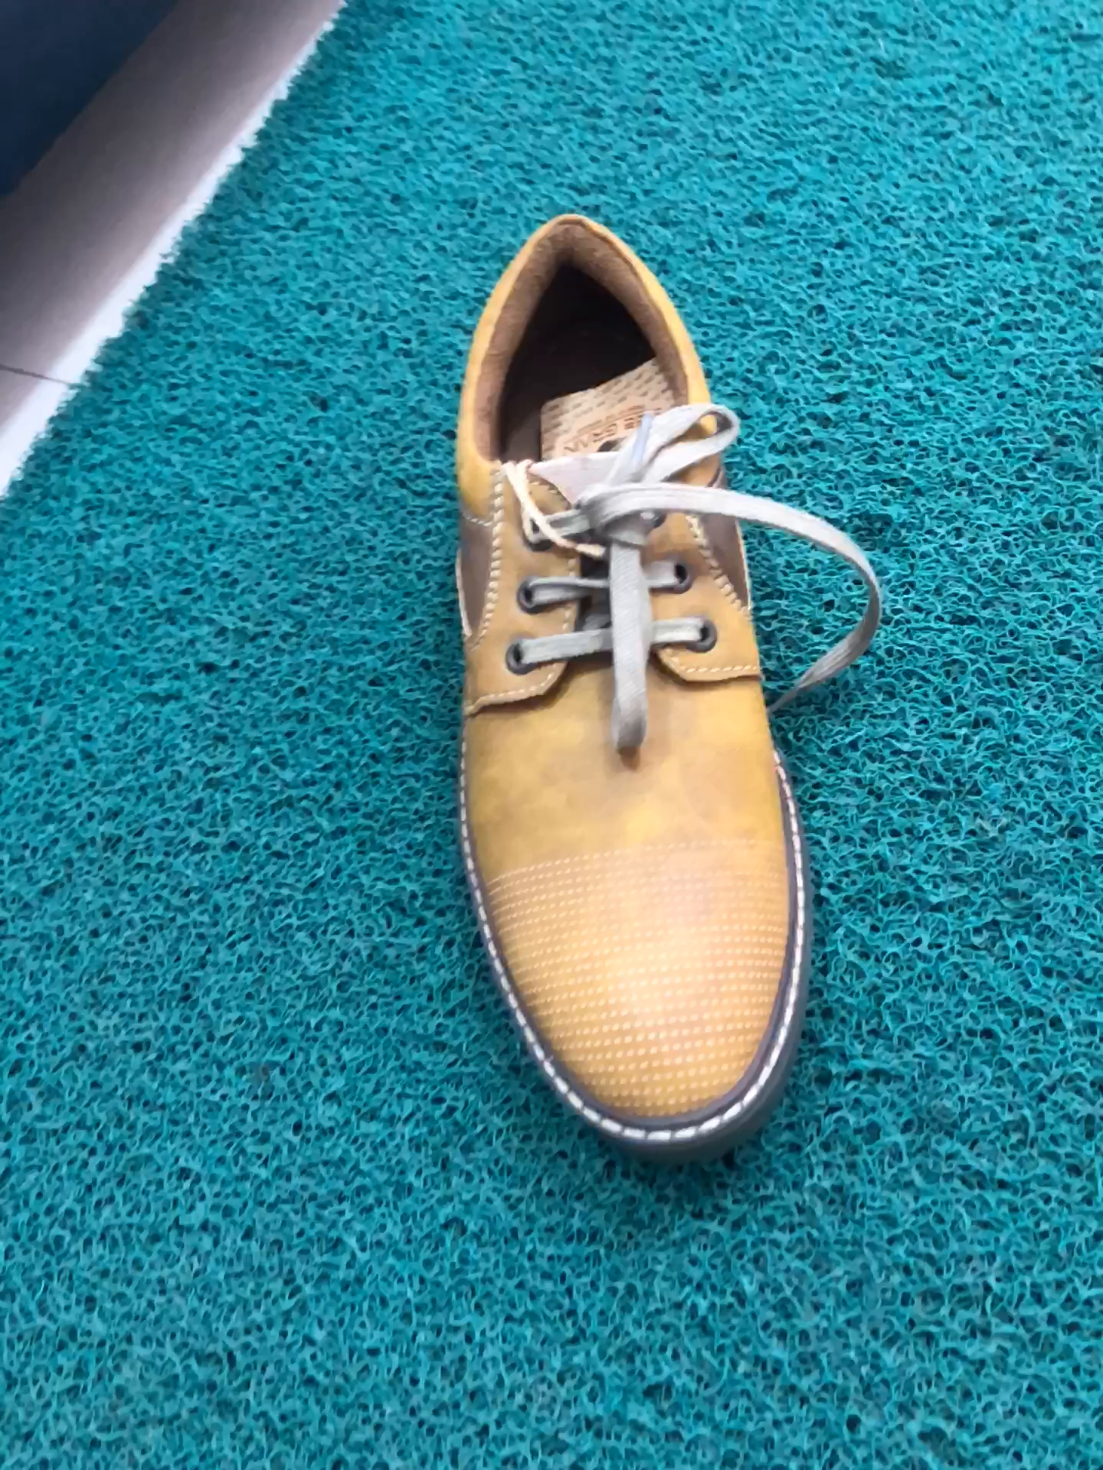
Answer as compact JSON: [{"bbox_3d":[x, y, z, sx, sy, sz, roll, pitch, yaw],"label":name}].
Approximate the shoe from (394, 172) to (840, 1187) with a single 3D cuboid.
[{"bbox_3d":[0.015,-0.024,0.394,0.100,0.110,0.301,-9,61,9],"label":"shoe"}]
